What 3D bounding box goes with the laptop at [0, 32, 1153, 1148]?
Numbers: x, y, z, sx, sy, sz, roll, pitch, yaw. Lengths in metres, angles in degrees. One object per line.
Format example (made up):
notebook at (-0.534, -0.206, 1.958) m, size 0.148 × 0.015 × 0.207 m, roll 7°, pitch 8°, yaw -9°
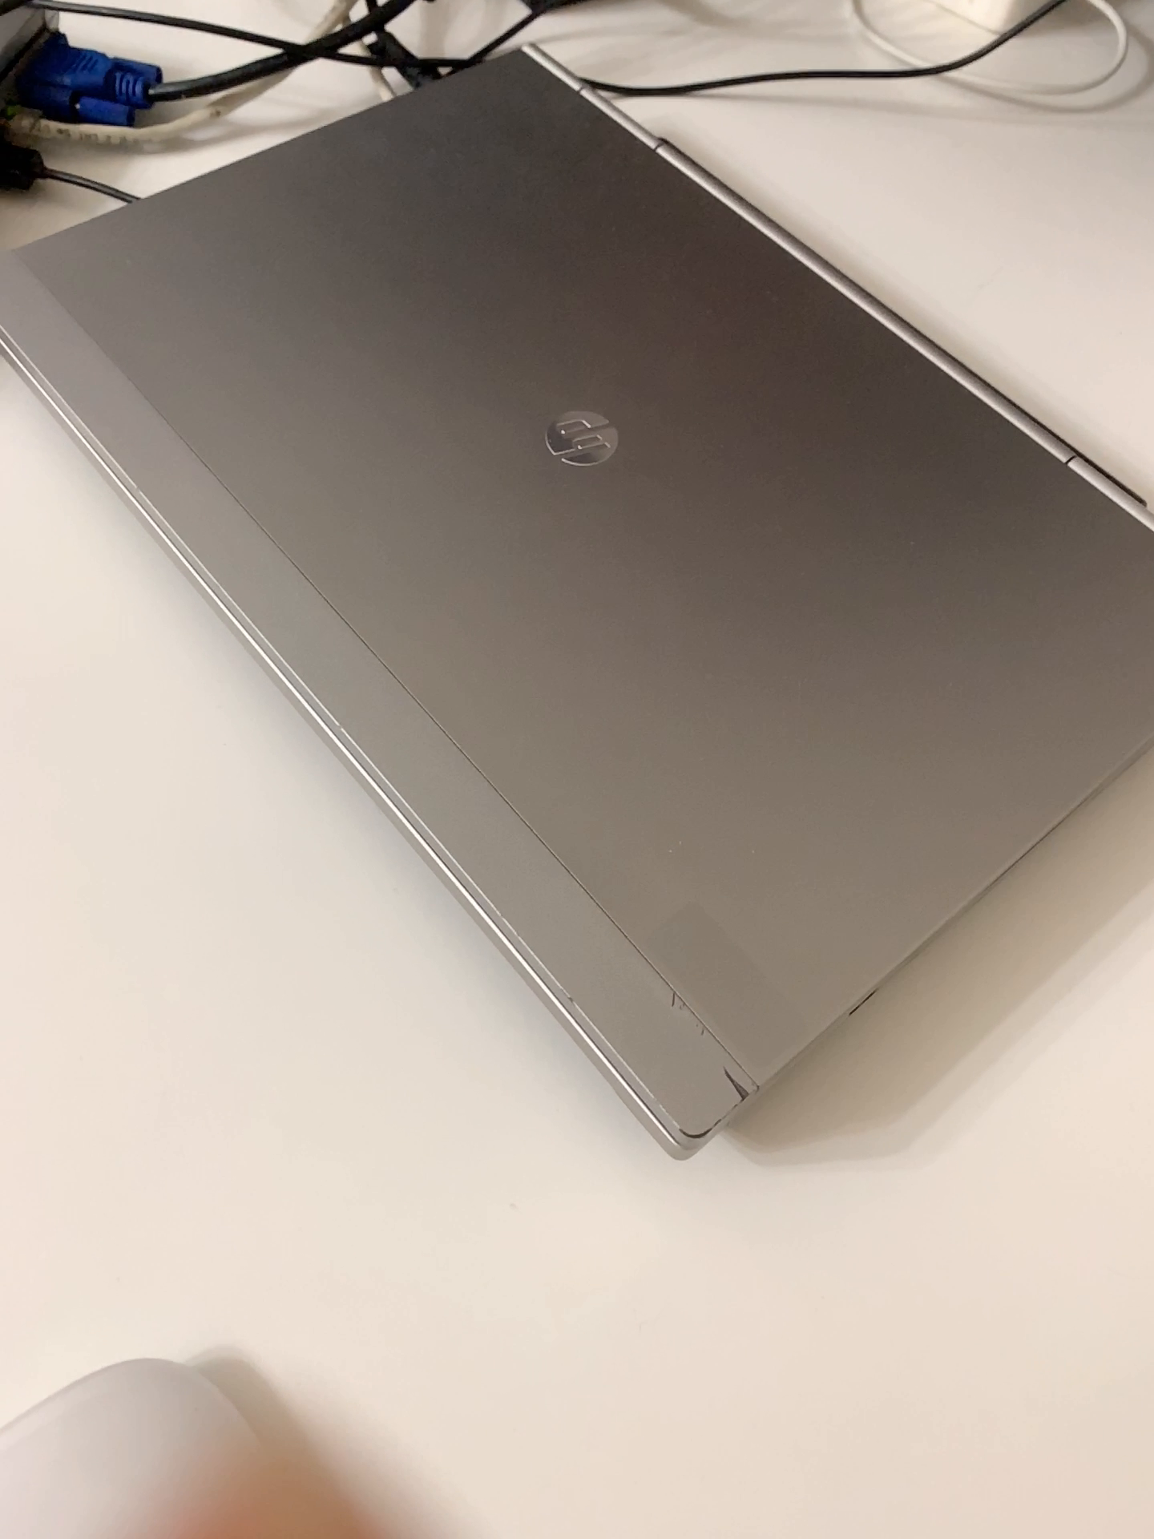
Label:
laptop at (0.002, -0.083, 0.317) m, size 0.192 × 0.016 × 0.292 m, roll -36°, pitch 68°, yaw -18°
